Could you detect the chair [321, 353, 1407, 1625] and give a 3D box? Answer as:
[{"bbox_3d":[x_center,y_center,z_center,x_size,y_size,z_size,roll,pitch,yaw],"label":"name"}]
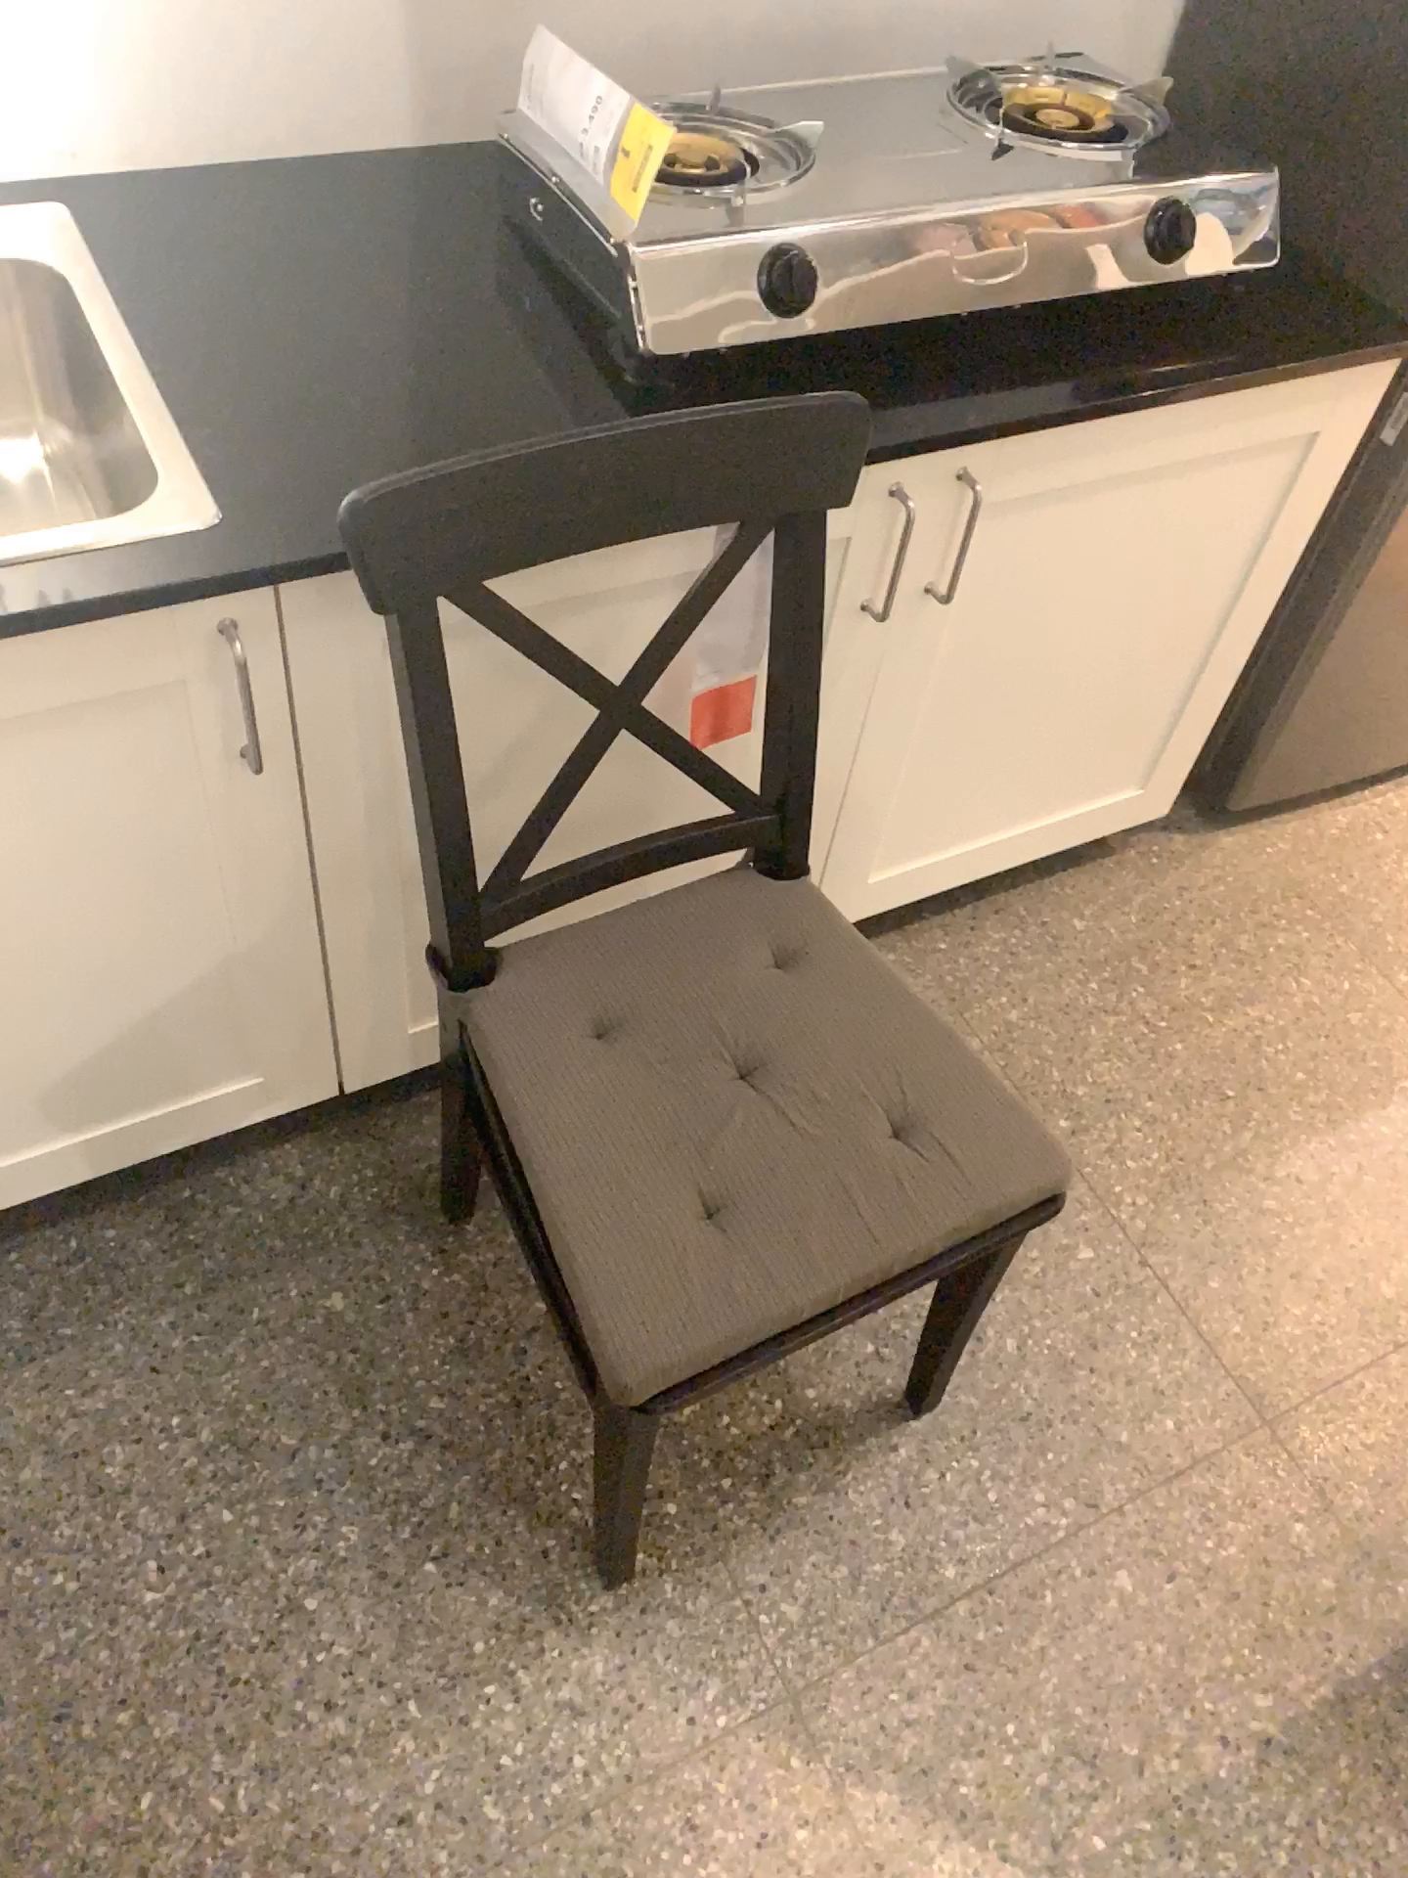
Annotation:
[{"bbox_3d":[0.032,0.078,1.098,0.420,0.787,0.491,-20,56,-24],"label":"chair"}]
